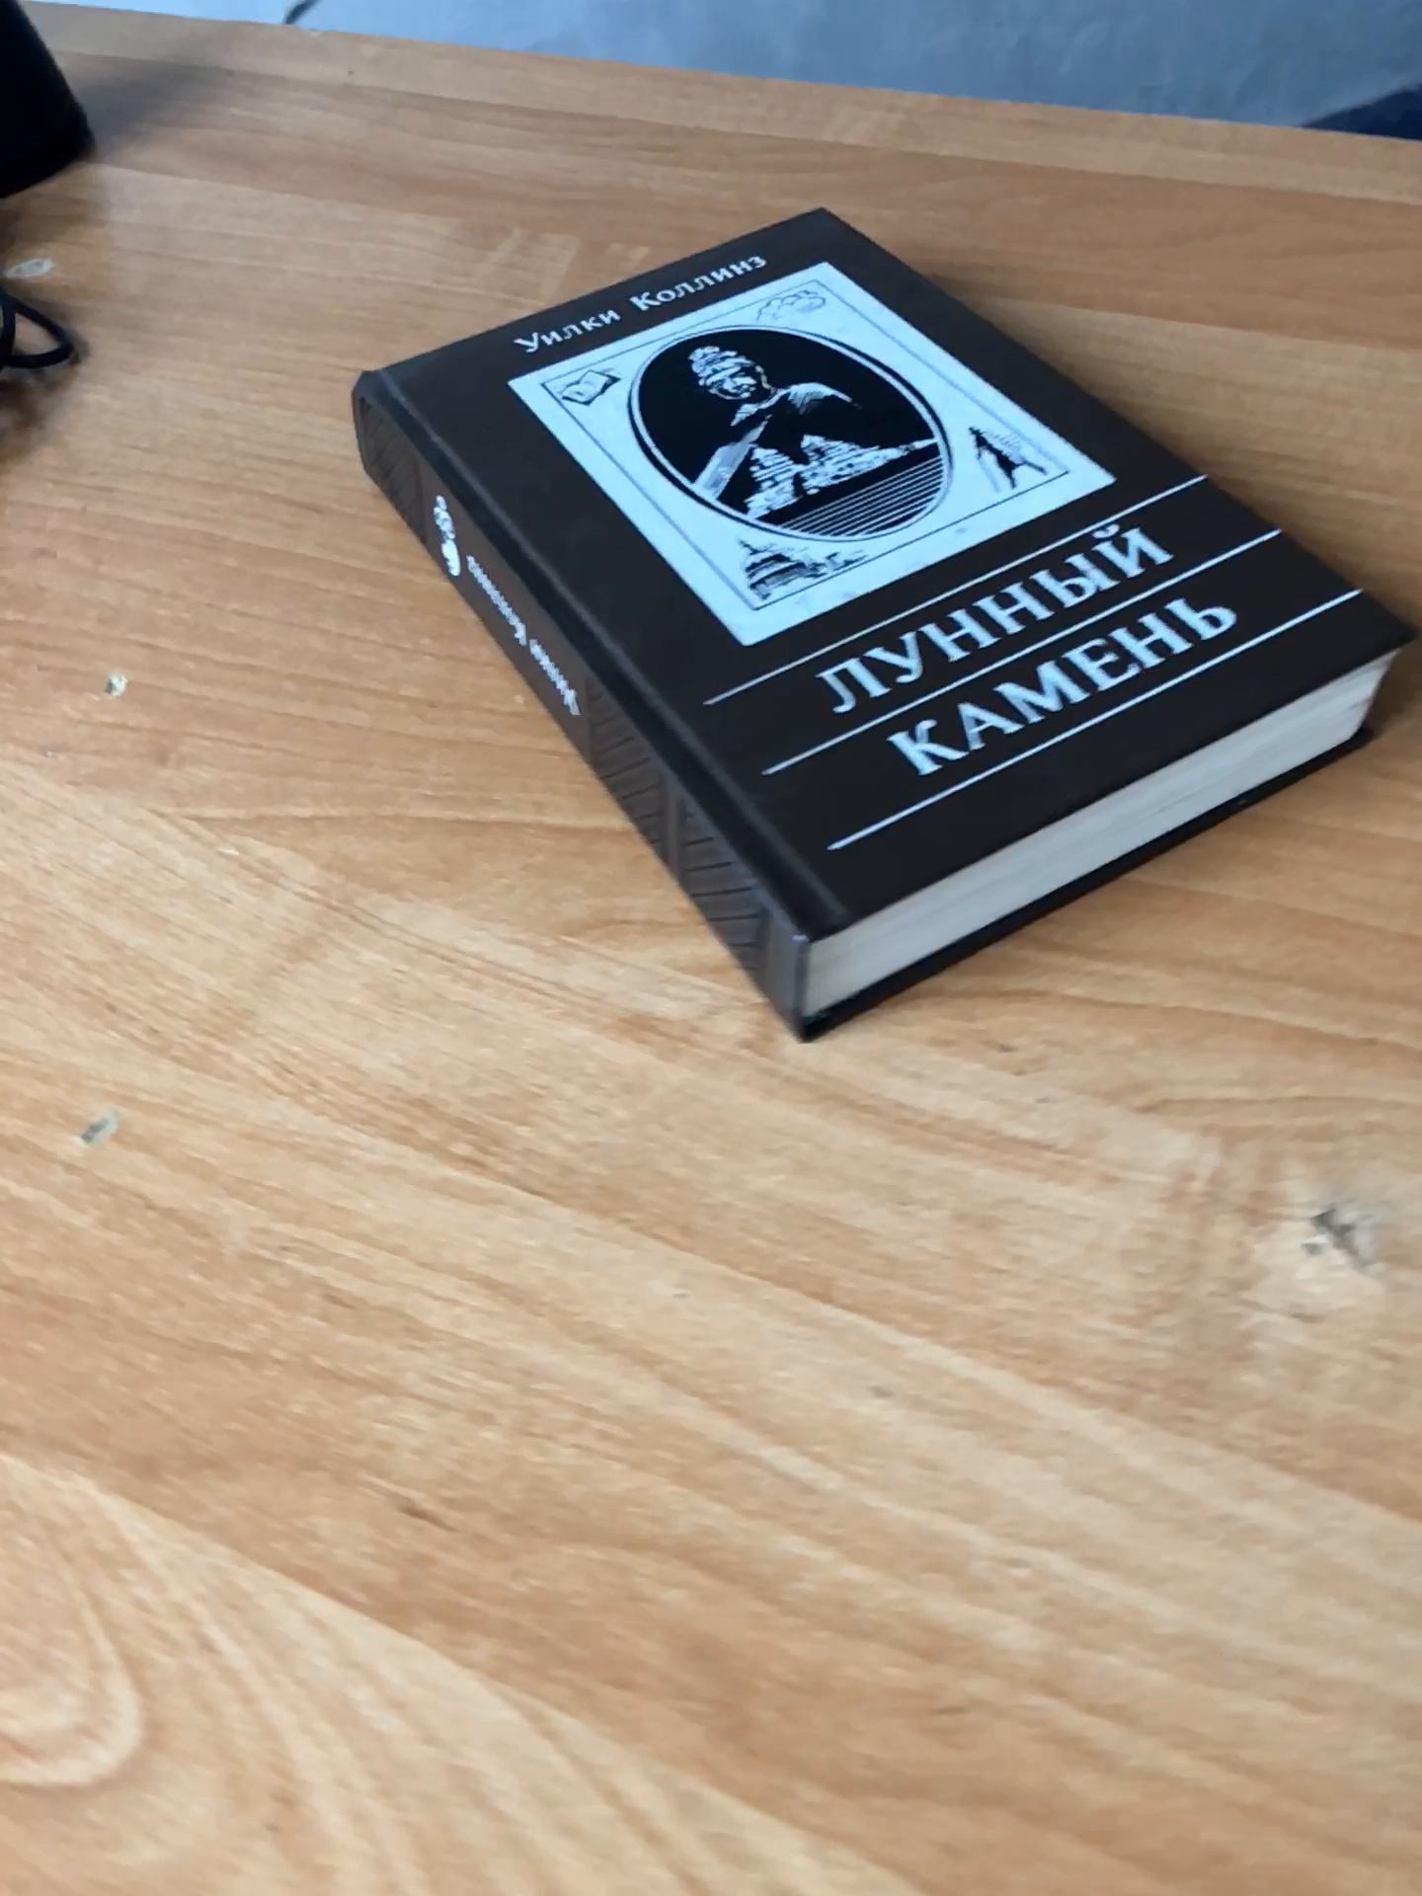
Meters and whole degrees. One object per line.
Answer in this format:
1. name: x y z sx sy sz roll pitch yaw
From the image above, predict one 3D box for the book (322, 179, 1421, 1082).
1. book: 0.021 -0.083 0.326 0.133 0.032 0.199 -28 55 -14
